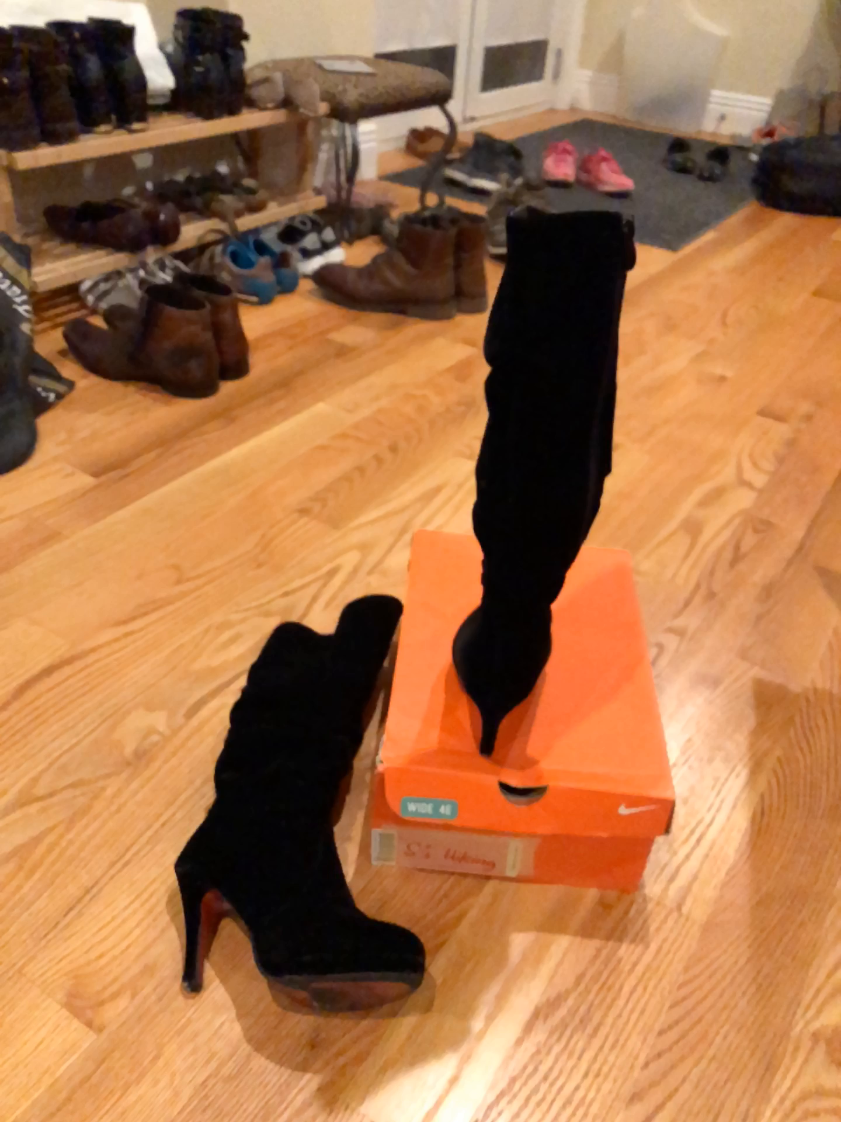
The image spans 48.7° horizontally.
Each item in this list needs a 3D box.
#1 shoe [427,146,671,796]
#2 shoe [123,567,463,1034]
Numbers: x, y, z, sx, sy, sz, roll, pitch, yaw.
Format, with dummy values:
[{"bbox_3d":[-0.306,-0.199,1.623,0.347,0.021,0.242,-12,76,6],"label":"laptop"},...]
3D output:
[{"bbox_3d":[0.080,-0.057,0.663,0.089,0.396,0.217,8,35,5],"label":"shoe"},{"bbox_3d":[-0.076,0.164,0.775,0.206,0.088,0.402,4,35,1],"label":"shoe"}]
